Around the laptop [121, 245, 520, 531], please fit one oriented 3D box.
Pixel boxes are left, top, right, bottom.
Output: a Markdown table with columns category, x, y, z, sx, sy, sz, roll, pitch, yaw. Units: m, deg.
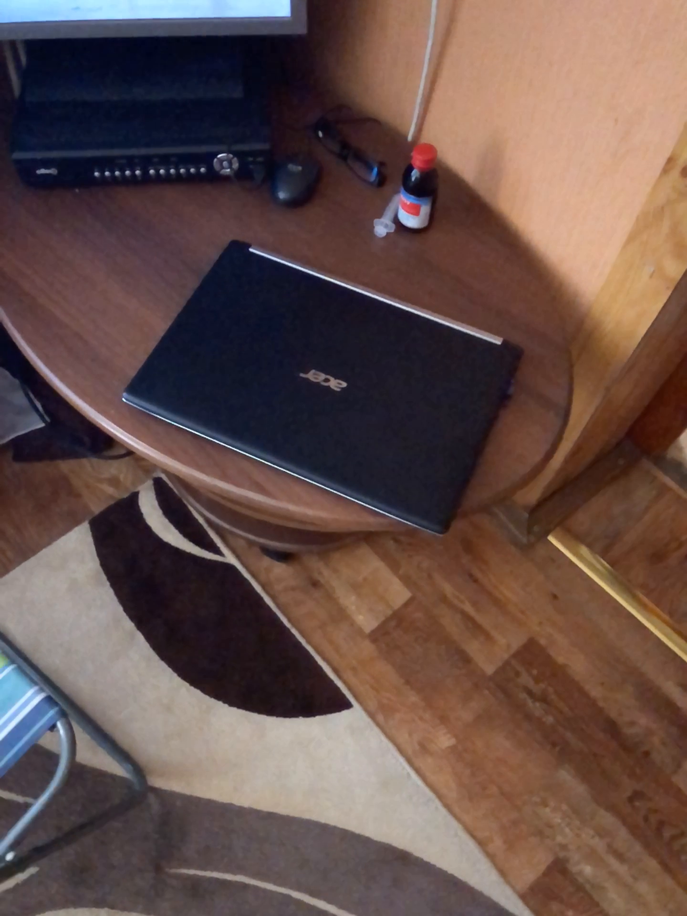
| category | x | y | z | sx | sy | sz | roll | pitch | yaw |
| --- | --- | --- | --- | --- | --- | --- | --- | --- | --- |
| laptop | -0.018 | -0.092 | 0.823 | 0.363 | 0.004 | 0.240 | 22 | 63 | 9 |
